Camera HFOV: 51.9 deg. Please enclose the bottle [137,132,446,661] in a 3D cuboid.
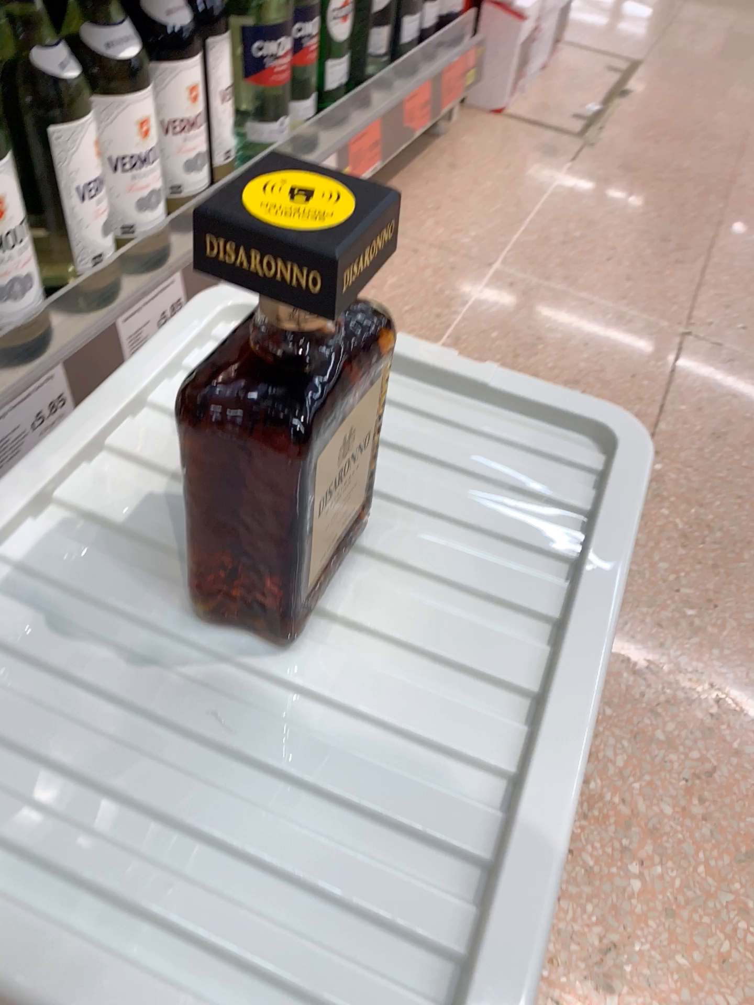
[{"bbox_3d":[-0.037,-0.038,0.360,0.070,0.208,0.111,22,48,11],"label":"bottle"}]
